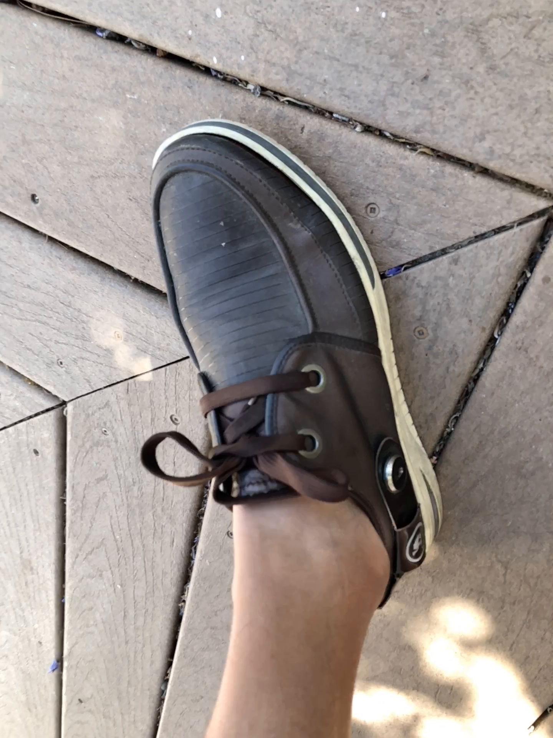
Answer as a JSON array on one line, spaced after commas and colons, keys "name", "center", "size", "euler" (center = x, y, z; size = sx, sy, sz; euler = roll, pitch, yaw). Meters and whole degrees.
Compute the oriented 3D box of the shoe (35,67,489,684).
[{"name": "shoe", "center": [0.009, 0.013, 0.321], "size": [0.107, 0.096, 0.289], "euler": [-13, 108, 34]}]
